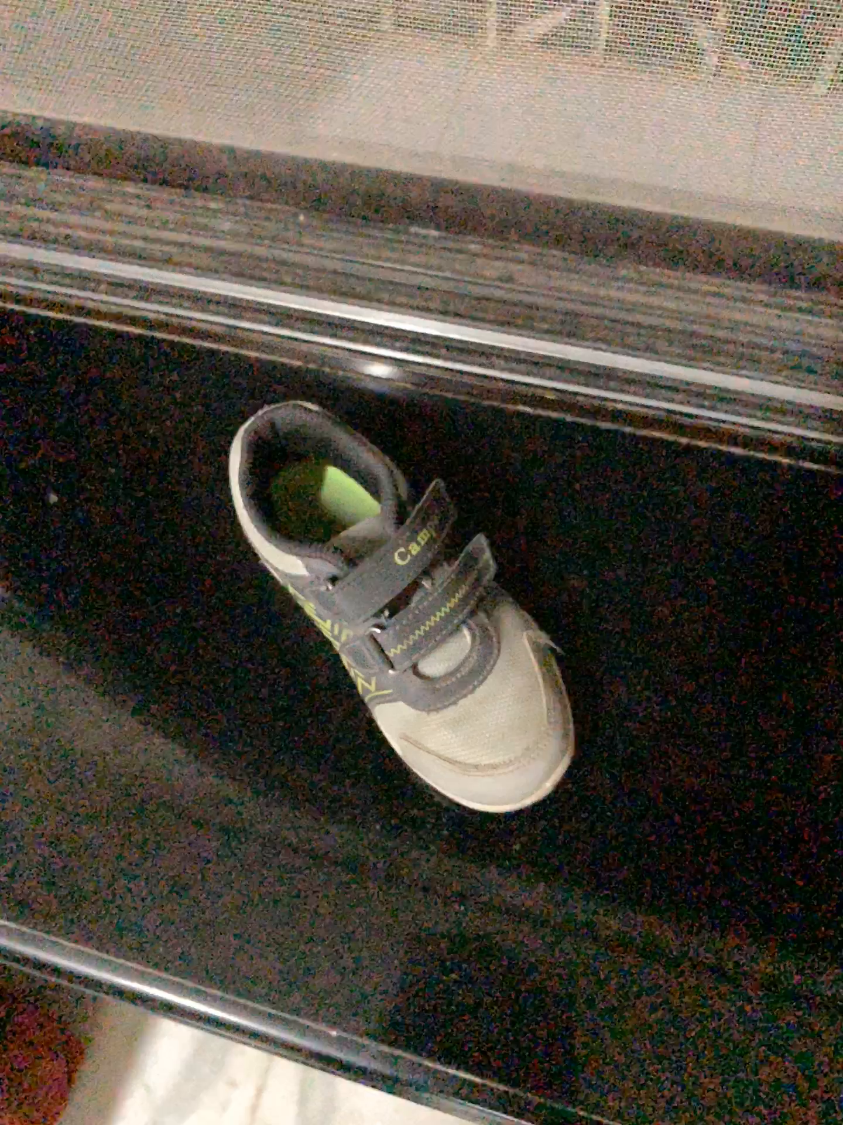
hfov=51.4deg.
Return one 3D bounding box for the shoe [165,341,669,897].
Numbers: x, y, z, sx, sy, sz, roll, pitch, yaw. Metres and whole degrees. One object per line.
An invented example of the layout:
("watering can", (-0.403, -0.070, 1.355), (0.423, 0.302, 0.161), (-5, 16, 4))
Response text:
("shoe", (-0.009, 0.021, 0.397), (0.090, 0.080, 0.231), (-35, 68, -11))
